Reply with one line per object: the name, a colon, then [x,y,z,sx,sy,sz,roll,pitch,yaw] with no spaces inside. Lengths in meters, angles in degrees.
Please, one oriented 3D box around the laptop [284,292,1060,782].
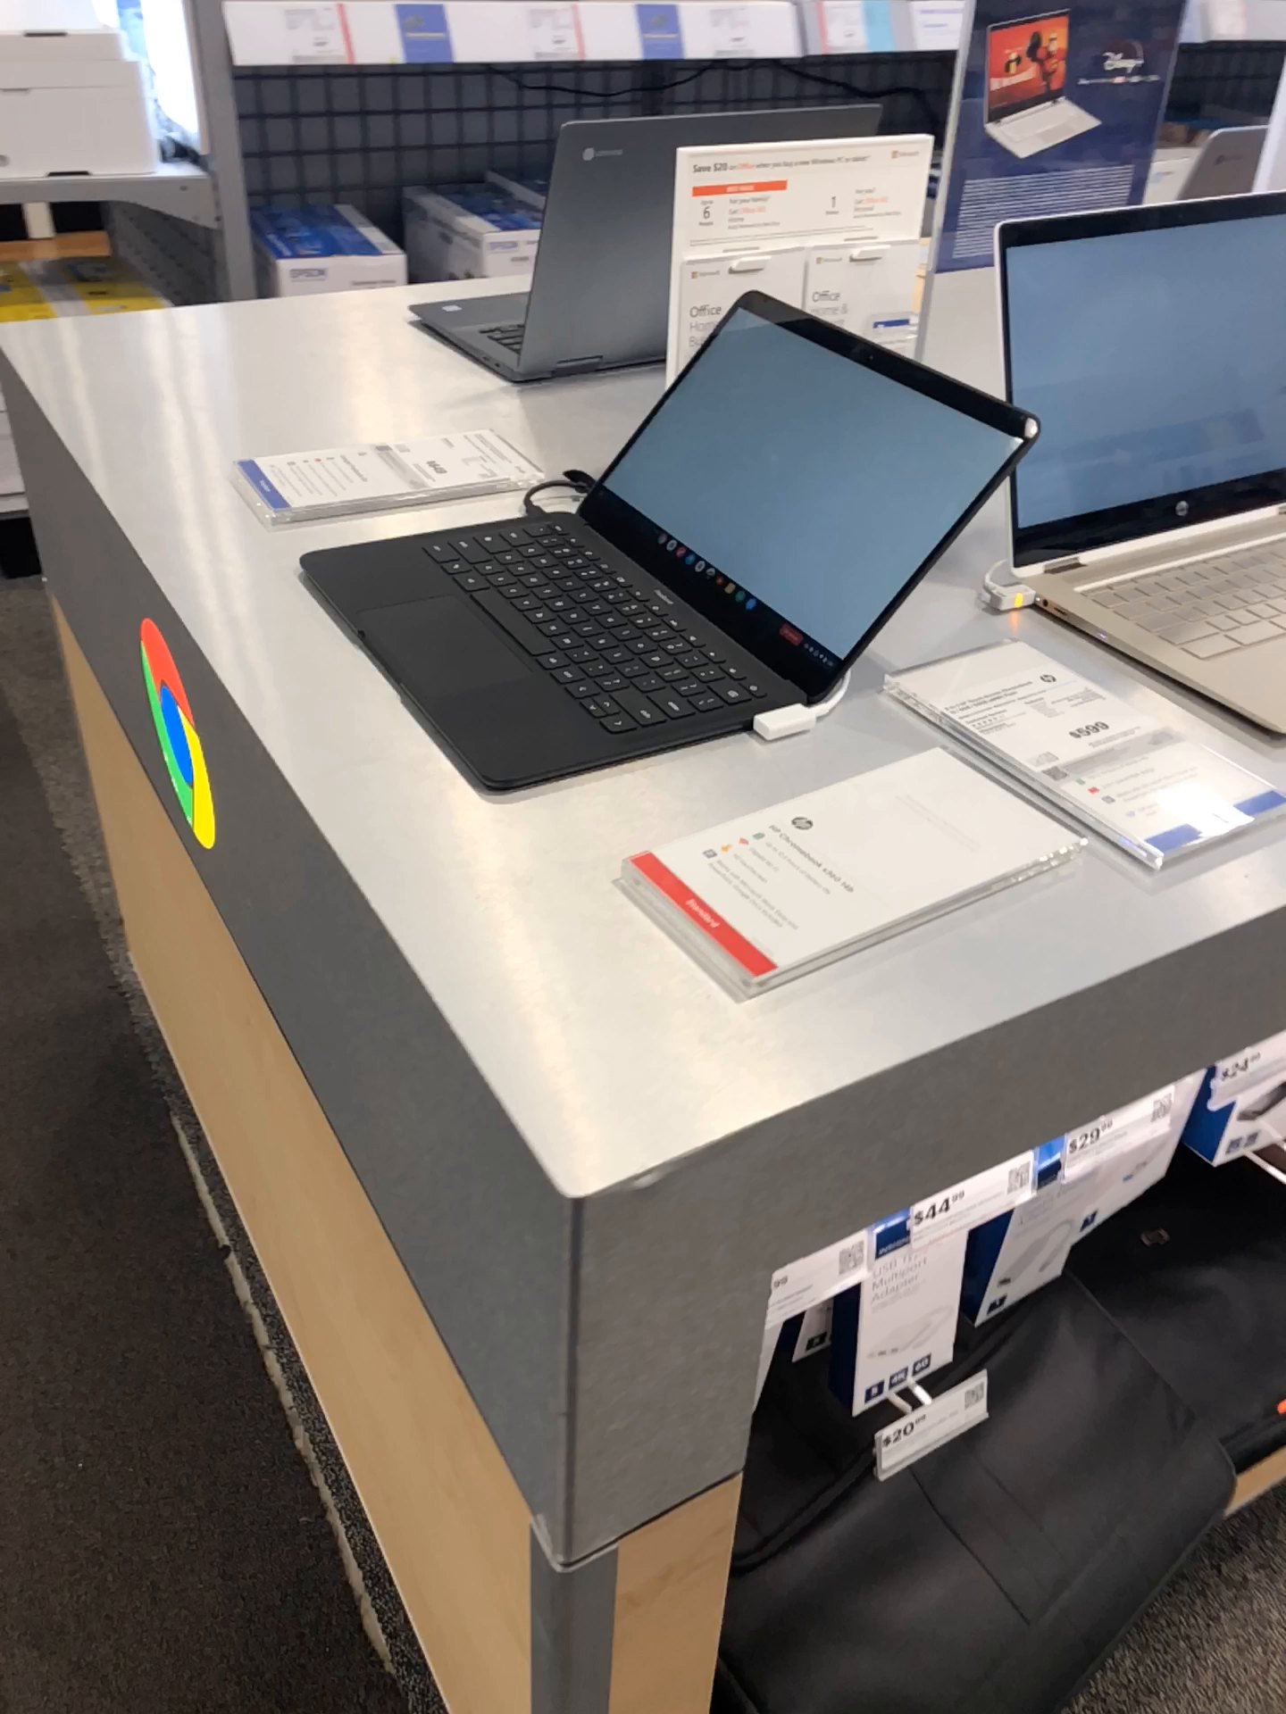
laptop: [0.005,-0.214,0.840,0.335,0.134,0.294,-17,40,-24]
